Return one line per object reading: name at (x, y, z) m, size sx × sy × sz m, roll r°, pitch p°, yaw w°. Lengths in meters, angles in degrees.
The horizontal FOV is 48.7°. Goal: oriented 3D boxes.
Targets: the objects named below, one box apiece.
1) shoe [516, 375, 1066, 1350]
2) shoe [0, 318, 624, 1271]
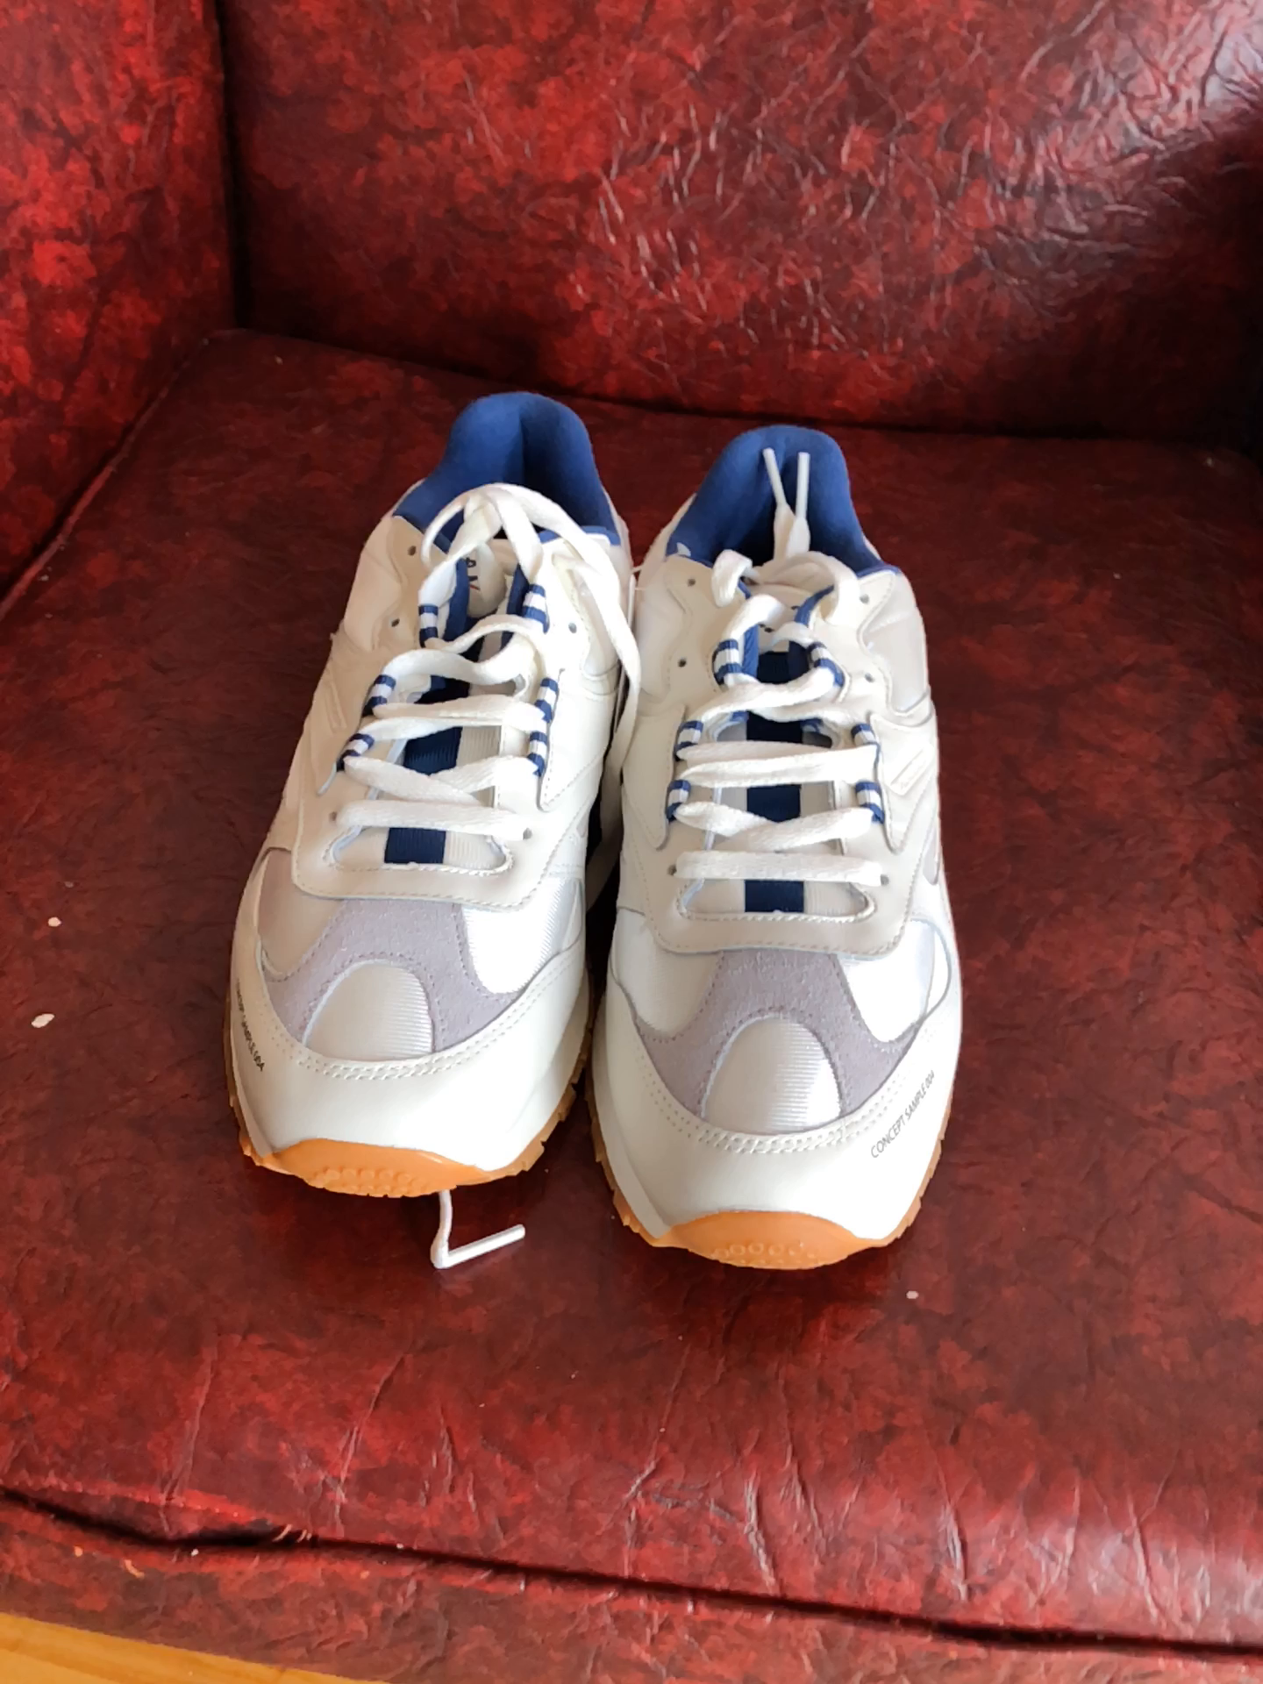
shoe at (0.039, -0.012, 0.405) m, size 0.110 × 0.099 × 0.272 m, roll 6°, pitch 50°, yaw 0°
shoe at (-0.070, -0.031, 0.407) m, size 0.110 × 0.099 × 0.272 m, roll 6°, pitch 50°, yaw 0°
